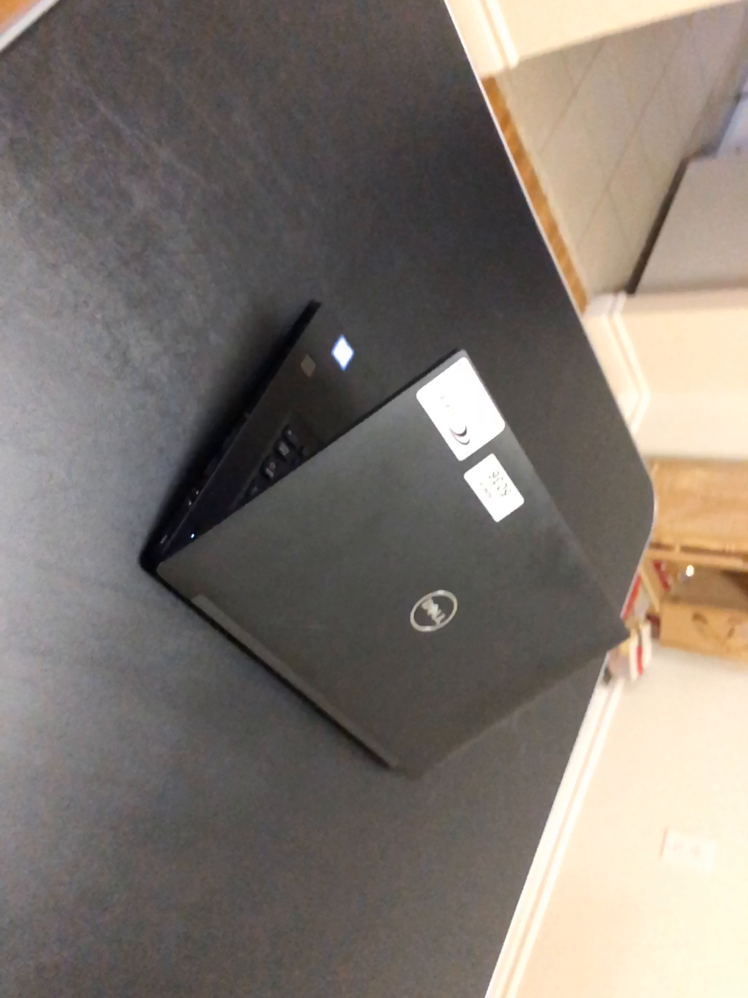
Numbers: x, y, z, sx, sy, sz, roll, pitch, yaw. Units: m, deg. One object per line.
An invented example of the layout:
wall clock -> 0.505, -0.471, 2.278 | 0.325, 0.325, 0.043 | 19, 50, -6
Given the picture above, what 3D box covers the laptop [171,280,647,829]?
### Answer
laptop -> 0.055, 0.050, 0.596 | 0.319, 0.142, 0.220 | 52, 56, -40
